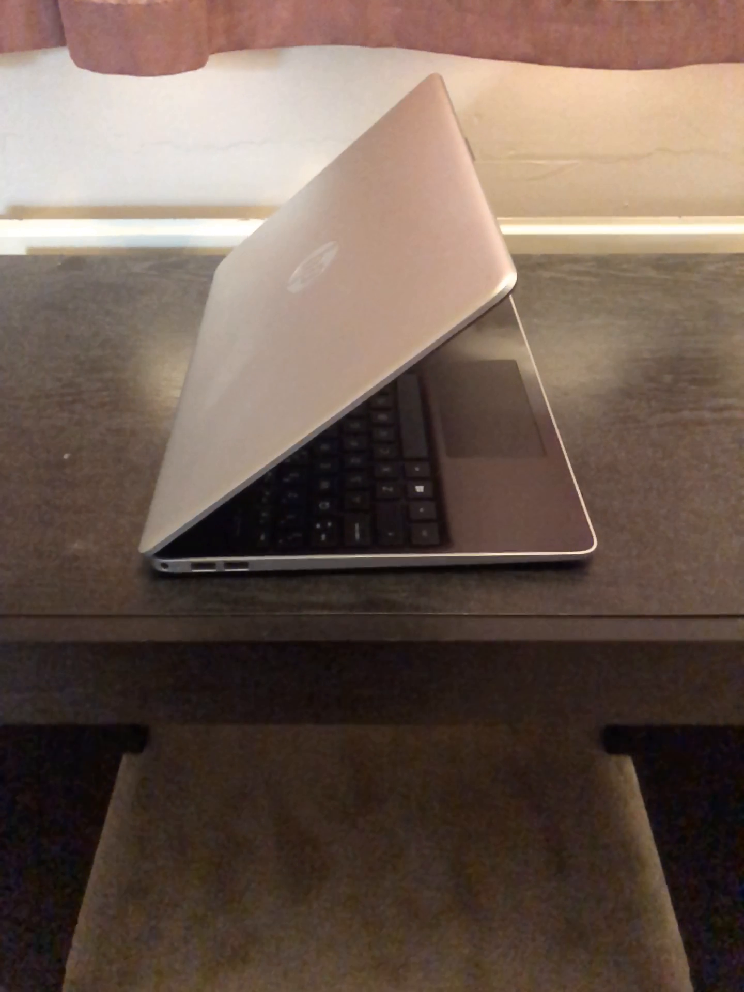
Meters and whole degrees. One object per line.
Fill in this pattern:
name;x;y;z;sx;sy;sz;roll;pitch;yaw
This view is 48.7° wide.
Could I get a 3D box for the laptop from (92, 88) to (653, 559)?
laptop;-0.001;-0.138;0.530;0.236;0.141;0.363;0;39;-3
